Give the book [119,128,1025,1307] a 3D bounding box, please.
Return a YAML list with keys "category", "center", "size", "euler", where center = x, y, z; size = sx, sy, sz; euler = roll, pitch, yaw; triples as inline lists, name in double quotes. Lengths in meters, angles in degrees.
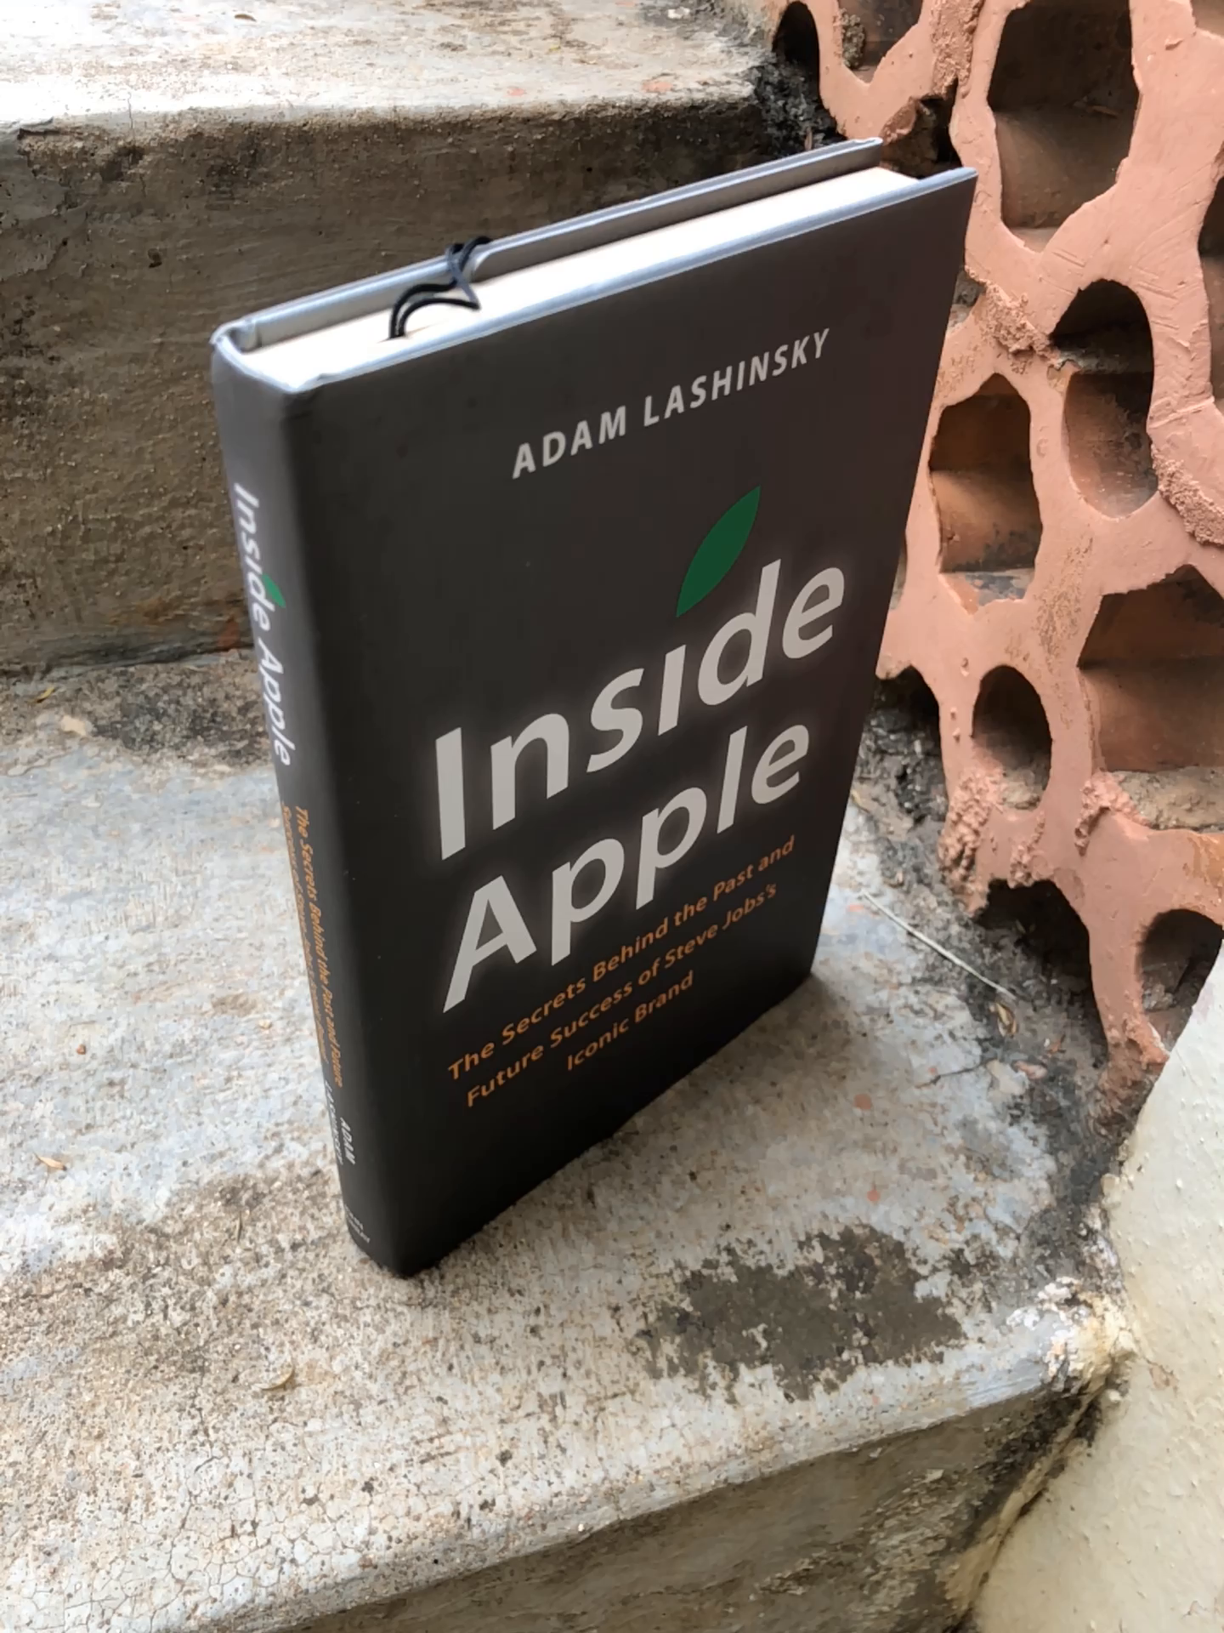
- category: "book"
  center: [0.001, -0.016, 0.302]
  size: [0.170, 0.219, 0.040]
  euler: [-30, 50, -32]
